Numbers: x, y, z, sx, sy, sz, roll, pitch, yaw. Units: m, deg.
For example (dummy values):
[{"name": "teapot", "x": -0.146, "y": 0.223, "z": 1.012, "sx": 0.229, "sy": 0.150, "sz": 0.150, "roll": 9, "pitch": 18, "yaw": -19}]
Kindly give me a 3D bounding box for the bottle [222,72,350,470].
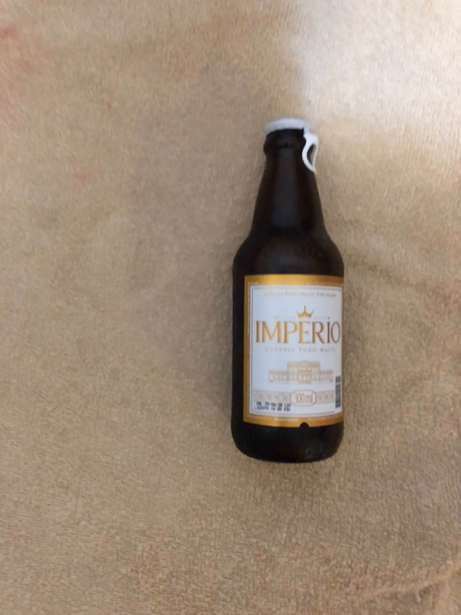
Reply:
[{"name": "bottle", "x": 0.026, "y": -0.018, "z": 0.276, "sx": 0.060, "sy": 0.060, "sz": 0.190, "roll": 0, "pitch": 88, "yaw": 0}]
